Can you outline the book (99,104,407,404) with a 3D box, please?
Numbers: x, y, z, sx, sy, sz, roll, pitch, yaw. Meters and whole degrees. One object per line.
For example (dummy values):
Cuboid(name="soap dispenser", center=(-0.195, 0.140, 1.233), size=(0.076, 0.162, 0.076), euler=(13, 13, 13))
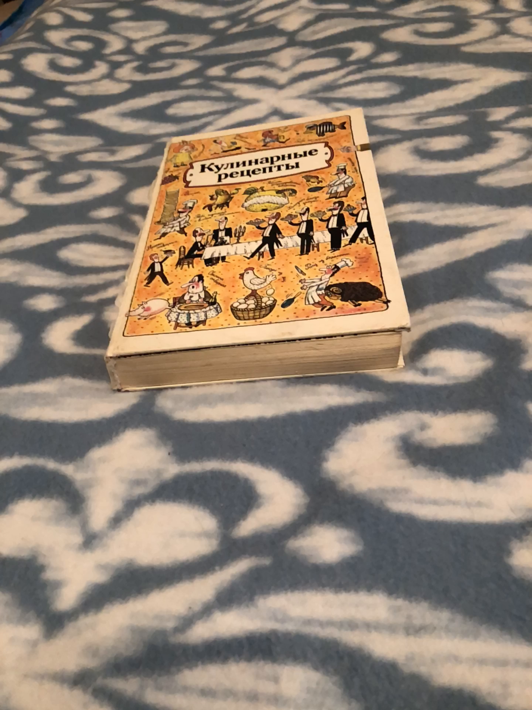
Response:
Cuboid(name="book", center=(-0.005, -0.074, 0.354), size=(0.141, 0.032, 0.221), euler=(-7, 46, 8))
